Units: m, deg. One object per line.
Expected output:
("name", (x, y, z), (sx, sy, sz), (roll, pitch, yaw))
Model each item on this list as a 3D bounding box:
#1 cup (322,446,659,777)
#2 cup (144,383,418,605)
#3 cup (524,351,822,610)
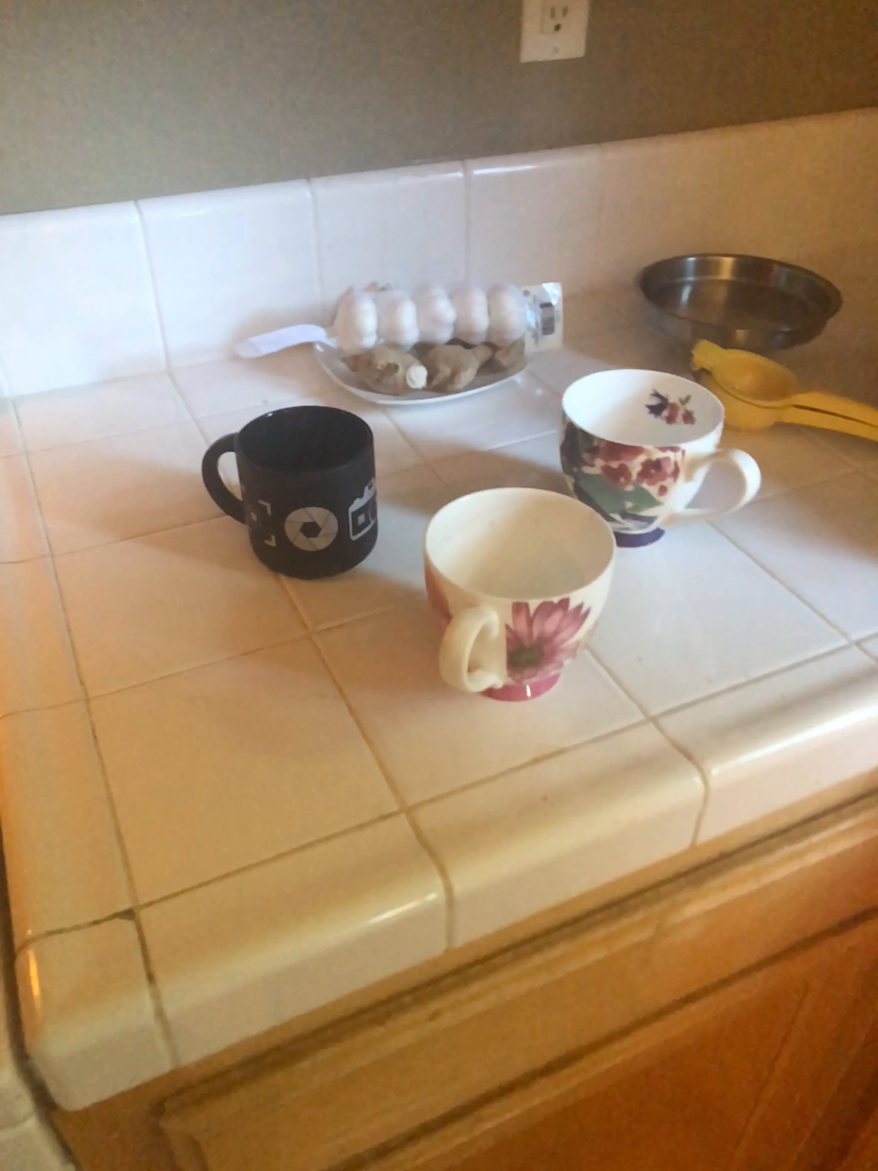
("cup", (0.030, 0.006, 0.531), (0.110, 0.079, 0.151), (26, 45, 28))
("cup", (-0.103, -0.067, 0.658), (0.140, 0.069, 0.111), (21, 43, 23))
("cup", (0.153, -0.078, 0.659), (0.111, 0.089, 0.150), (-30, 48, -32))
